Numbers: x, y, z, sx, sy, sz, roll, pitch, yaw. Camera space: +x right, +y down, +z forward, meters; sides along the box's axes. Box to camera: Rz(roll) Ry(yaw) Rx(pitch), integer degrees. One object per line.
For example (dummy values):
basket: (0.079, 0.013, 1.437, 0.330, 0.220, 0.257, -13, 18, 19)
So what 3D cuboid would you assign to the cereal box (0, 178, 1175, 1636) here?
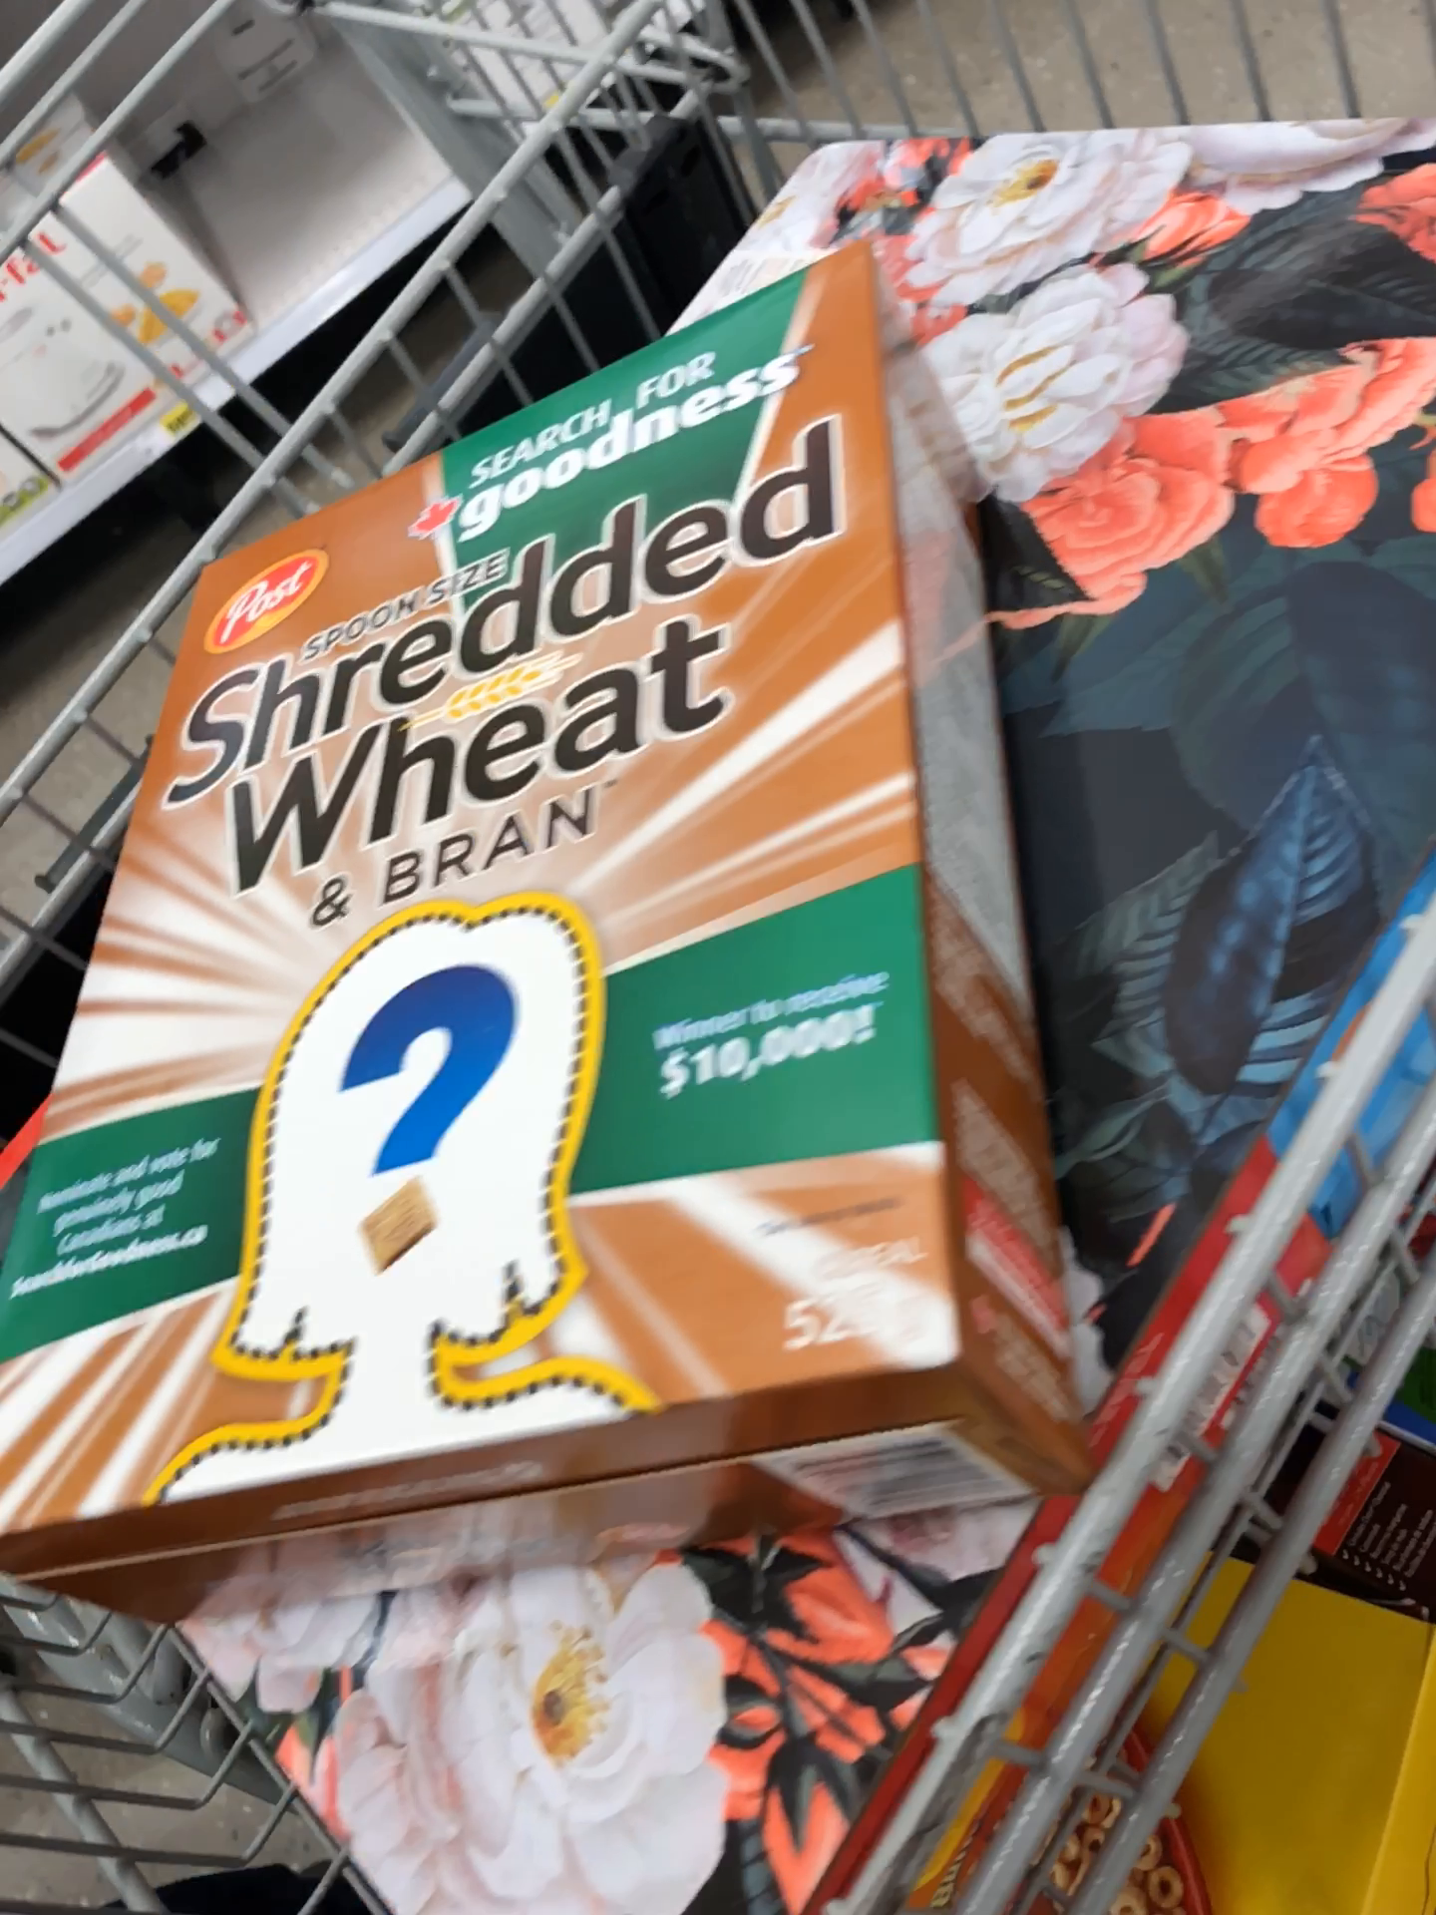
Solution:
cereal box: (-0.043, -0.027, 0.368, 0.221, 0.070, 0.300, -19, 48, 20)
